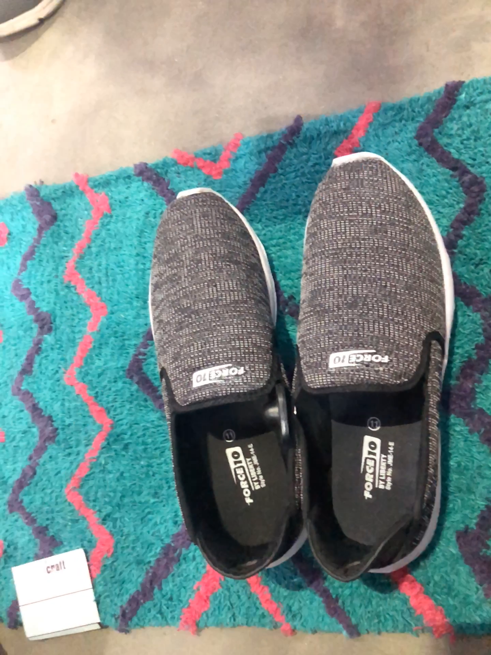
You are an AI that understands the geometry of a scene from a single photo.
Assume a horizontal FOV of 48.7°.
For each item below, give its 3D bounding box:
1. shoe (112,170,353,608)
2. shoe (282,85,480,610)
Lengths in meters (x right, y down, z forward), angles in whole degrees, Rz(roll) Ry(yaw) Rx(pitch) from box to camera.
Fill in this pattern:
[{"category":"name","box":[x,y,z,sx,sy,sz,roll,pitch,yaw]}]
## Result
[{"category":"shoe","box":[-0.011,0.045,0.442,0.110,0.100,0.300,-16,78,17]},{"category":"shoe","box":[0.098,0.011,0.404,0.110,0.100,0.330,-4,82,19]}]
